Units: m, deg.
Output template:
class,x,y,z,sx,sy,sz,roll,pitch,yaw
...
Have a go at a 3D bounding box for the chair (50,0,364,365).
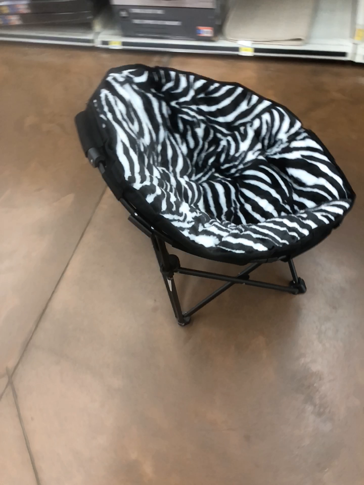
class,x,y,z,sx,sy,sz,roll,pitch,yaw
chair,0.103,-0.160,1.049,0.600,0.599,0.611,-19,56,-5
